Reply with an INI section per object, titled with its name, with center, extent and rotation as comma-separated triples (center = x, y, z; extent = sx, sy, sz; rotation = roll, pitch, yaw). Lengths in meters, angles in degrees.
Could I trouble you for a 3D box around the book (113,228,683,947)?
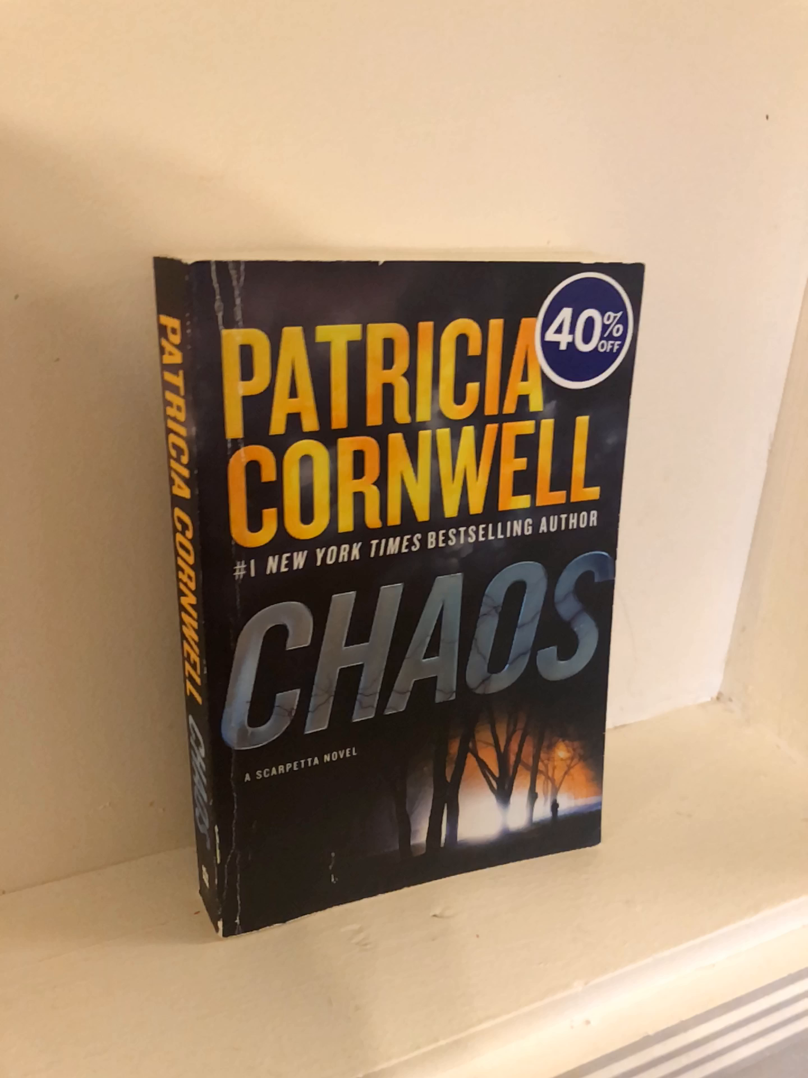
[book]
center = 0.000, 0.011, 0.308
extent = 0.170, 0.219, 0.050
rotation = -6, 17, -19
